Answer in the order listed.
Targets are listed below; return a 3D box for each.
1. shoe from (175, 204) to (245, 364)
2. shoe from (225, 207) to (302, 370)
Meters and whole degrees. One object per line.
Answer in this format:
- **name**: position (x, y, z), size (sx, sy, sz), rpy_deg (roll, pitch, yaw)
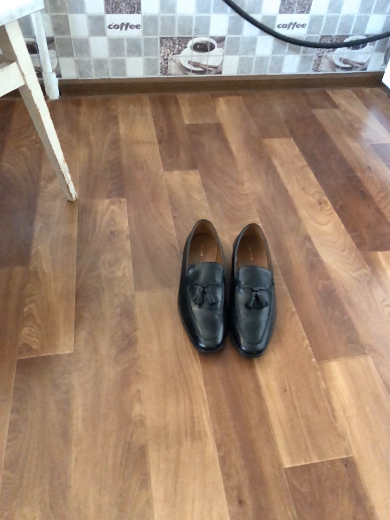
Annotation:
- **shoe**: position (0.017, 0.035, 0.826), size (0.110, 0.119, 0.302), rpy_deg (0, 47, -3)
- **shoe**: position (0.120, 0.044, 0.825), size (0.110, 0.119, 0.302), rpy_deg (4, 47, 0)
